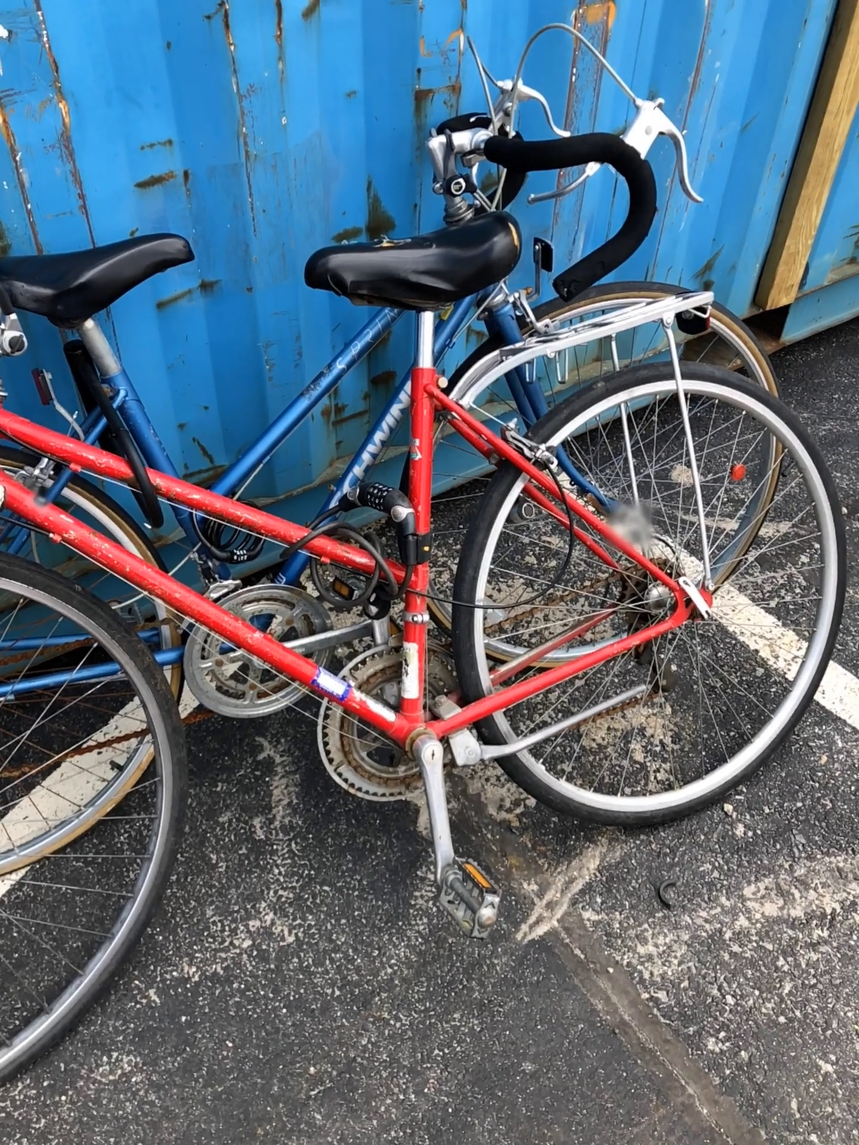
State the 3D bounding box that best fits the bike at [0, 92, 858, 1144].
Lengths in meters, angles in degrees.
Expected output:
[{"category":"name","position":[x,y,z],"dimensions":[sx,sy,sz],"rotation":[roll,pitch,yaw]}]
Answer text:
[{"category":"bike","position":[-0.163,-0.037,1.174],"dimensions":[1.643,0.824,0.485],"rotation":[-19,47,-24]}]
